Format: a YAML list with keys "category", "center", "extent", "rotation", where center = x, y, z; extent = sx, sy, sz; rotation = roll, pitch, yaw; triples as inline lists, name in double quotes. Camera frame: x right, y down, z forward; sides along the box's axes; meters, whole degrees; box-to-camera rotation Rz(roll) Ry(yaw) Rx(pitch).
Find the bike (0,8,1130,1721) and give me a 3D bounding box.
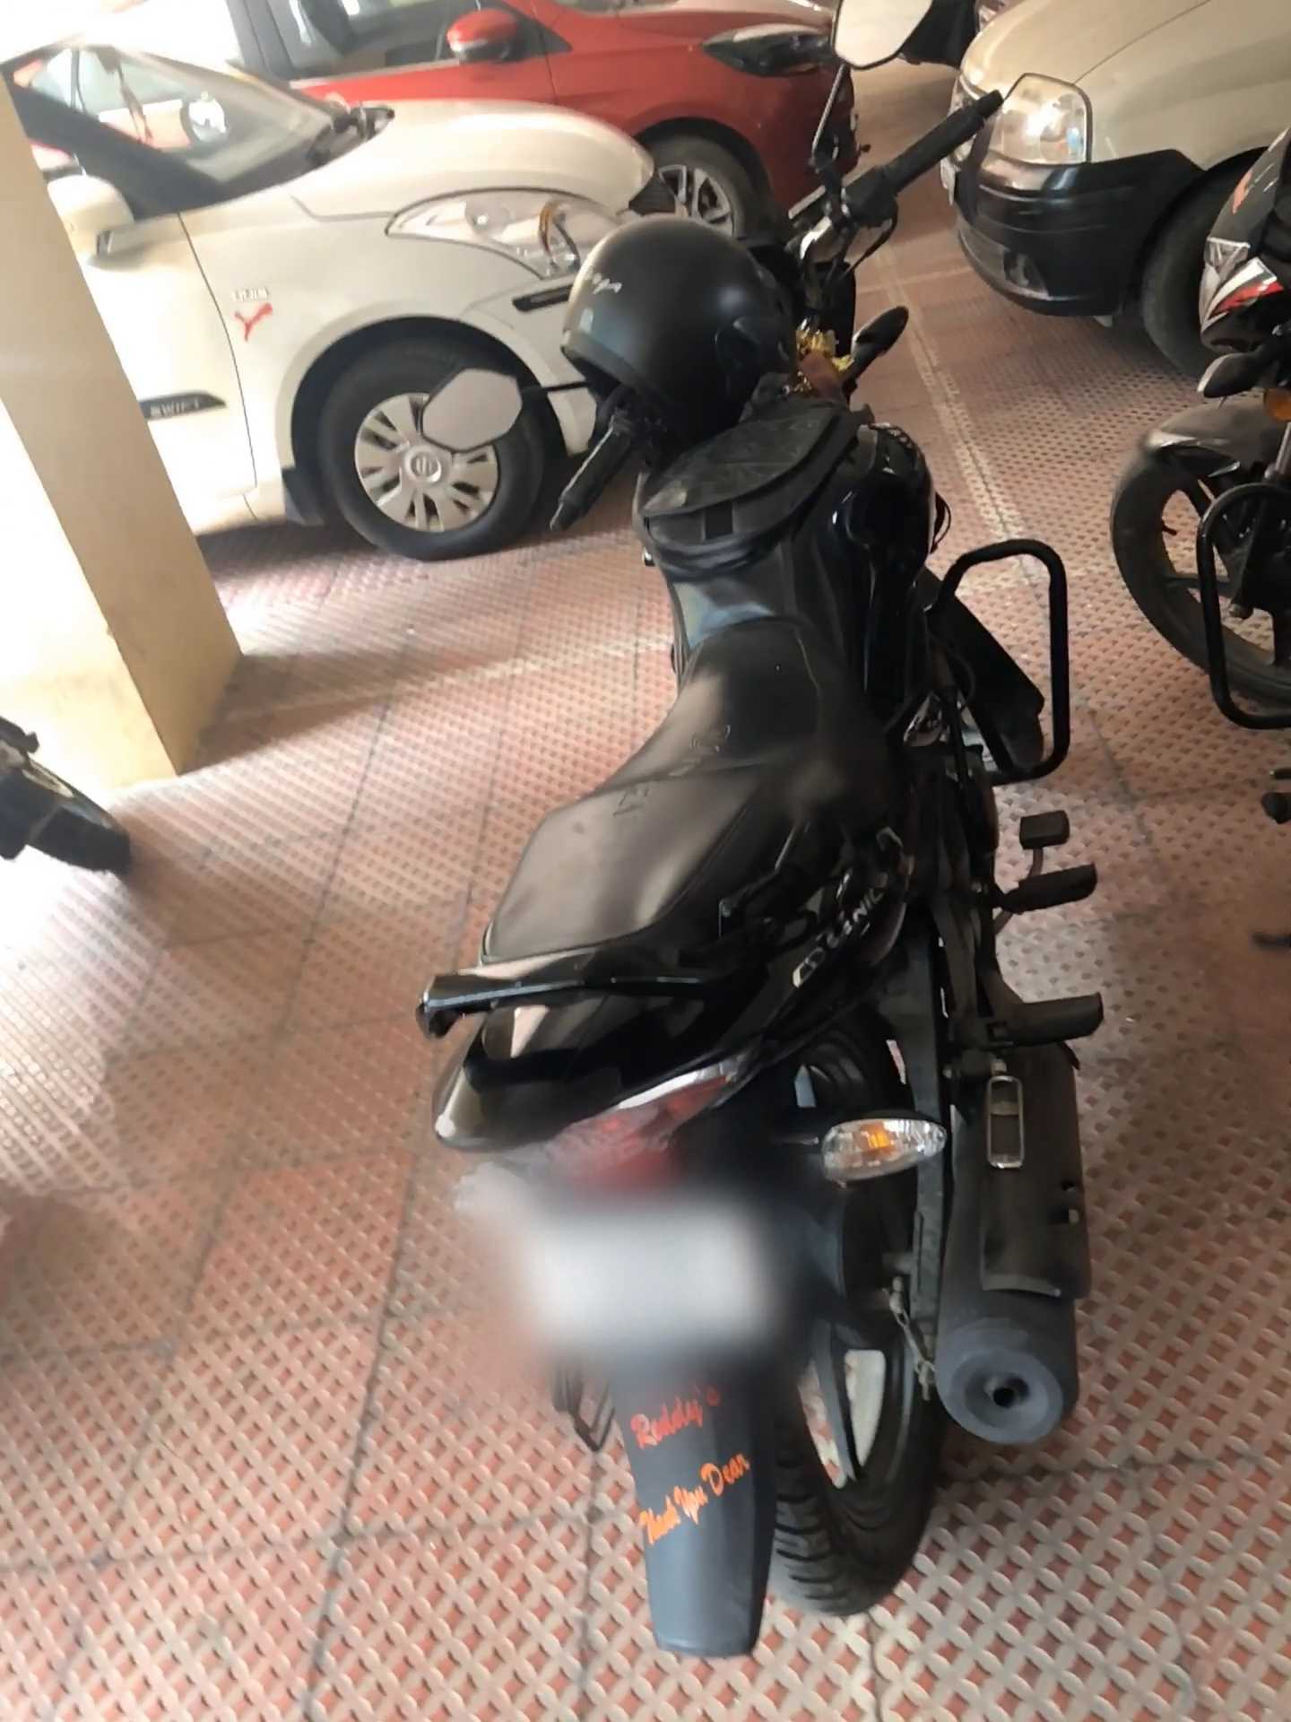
- category: "bike"
  center: [0.019, -0.156, 1.762]
  extent: [0.804, 1.200, 1.692]
  rotation: [-6, 37, 13]
